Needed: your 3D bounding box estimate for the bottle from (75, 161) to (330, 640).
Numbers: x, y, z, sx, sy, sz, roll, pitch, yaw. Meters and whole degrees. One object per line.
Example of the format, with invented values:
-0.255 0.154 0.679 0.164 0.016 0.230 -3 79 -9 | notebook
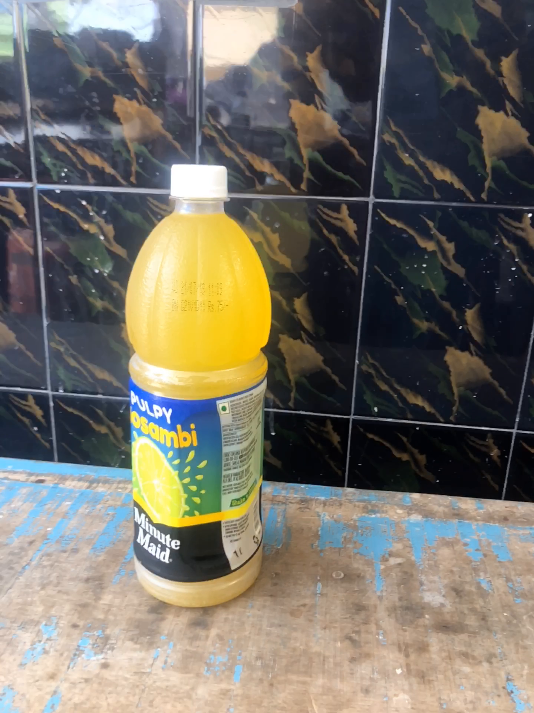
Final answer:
-0.036 0.017 0.353 0.090 0.249 0.100 17 24 38 | bottle
